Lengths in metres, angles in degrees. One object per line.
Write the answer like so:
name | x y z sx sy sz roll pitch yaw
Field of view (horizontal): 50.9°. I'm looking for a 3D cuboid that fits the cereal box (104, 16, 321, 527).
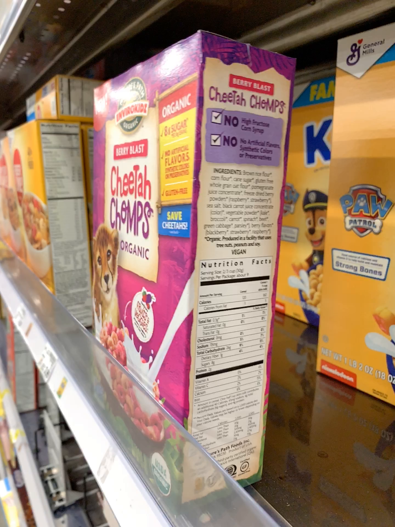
cereal box | -0.009 0.007 0.290 0.060 0.269 0.160 -3 11 -31
